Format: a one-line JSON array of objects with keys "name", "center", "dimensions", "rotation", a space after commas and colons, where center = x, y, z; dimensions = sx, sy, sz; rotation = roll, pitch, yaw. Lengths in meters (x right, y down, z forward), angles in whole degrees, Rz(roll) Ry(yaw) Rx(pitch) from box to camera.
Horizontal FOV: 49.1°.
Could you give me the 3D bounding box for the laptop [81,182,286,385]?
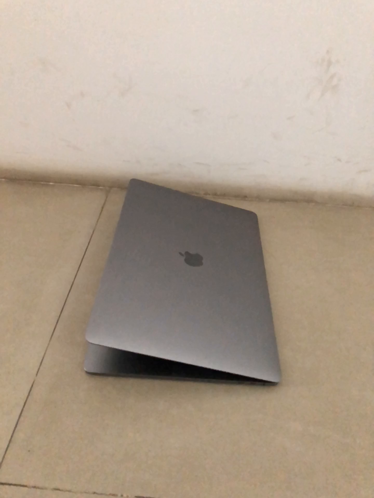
[{"name": "laptop", "center": [0.004, 0.023, 0.605], "dimensions": [0.232, 0.057, 0.337], "rotation": [4, 41, 1]}]
